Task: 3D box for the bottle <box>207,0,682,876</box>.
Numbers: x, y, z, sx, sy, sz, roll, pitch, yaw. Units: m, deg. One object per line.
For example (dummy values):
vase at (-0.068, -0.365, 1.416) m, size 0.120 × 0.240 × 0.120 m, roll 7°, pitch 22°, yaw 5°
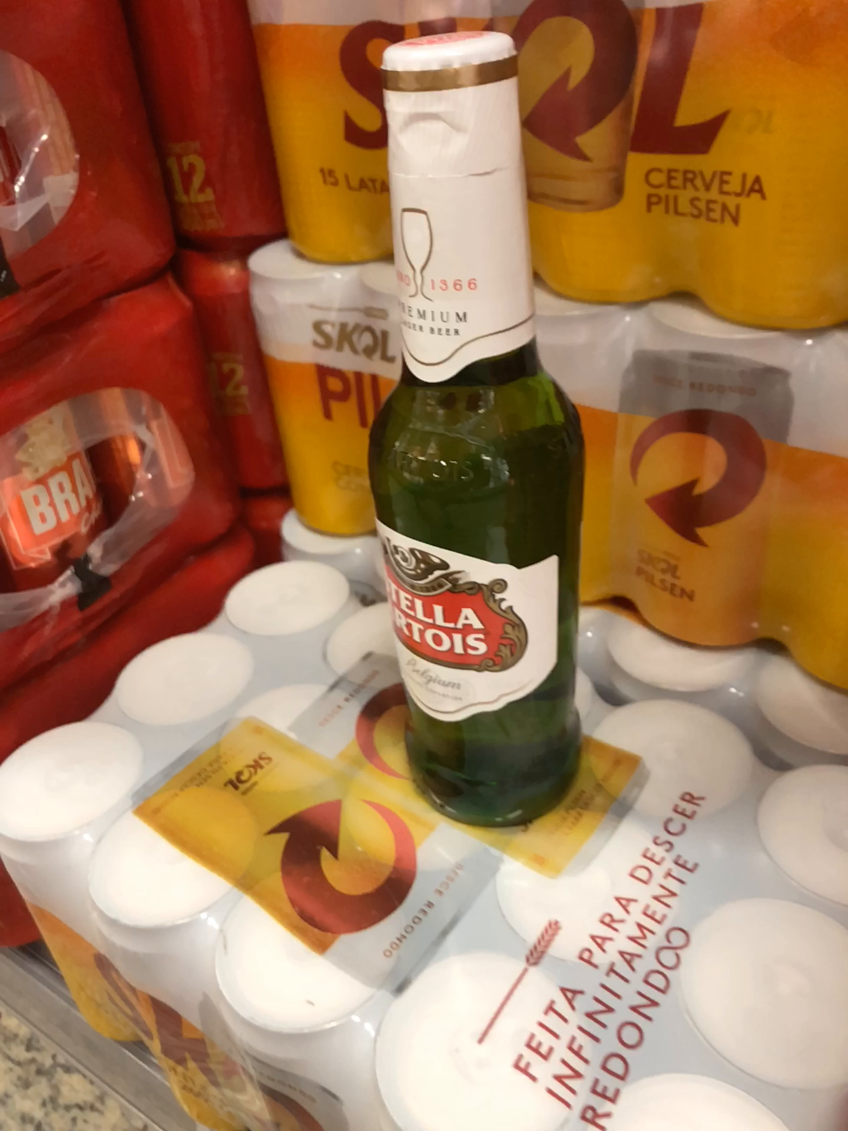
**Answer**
bottle at (0.017, -0.024, 0.246) m, size 0.070 × 0.218 × 0.060 m, roll 18°, pitch 44°, yaw 32°
